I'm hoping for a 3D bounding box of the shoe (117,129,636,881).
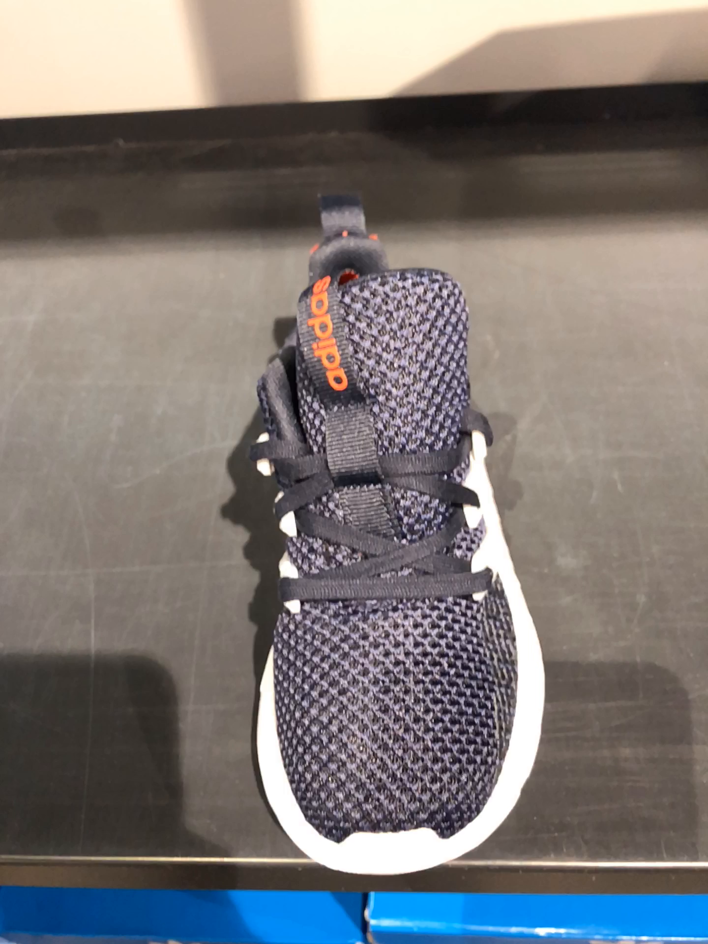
[{"bbox_3d":[0.008,0.002,0.244,0.090,0.110,0.201,-1,51,4],"label":"shoe"}]
